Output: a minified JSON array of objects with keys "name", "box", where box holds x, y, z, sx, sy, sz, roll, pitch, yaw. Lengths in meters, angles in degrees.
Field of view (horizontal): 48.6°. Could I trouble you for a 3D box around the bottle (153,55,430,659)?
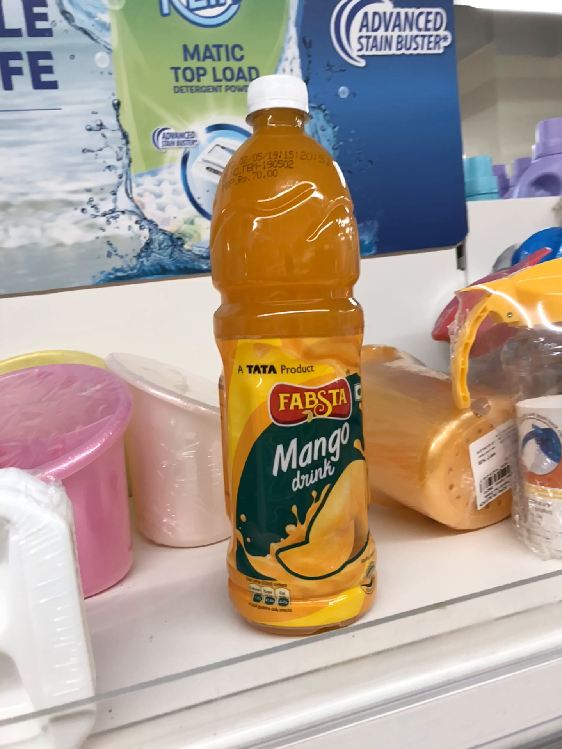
[{"name":"bottle","box":[0.004,-0.010,0.318,0.090,0.260,0.080,-9,7,-20]}]
